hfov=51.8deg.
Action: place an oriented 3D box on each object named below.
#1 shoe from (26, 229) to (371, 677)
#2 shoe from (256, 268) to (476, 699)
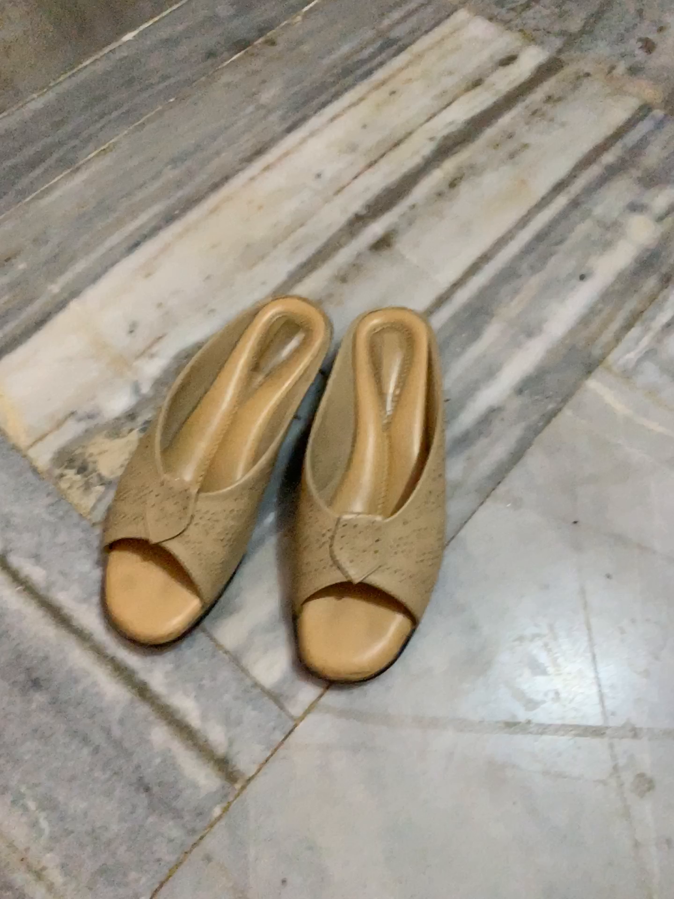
[{"bbox_3d":[-0.072,-0.008,0.451,0.095,0.070,0.273,19,65,9],"label":"shoe"},{"bbox_3d":[0.026,0.013,0.448,0.095,0.070,0.259,9,64,4],"label":"shoe"}]
